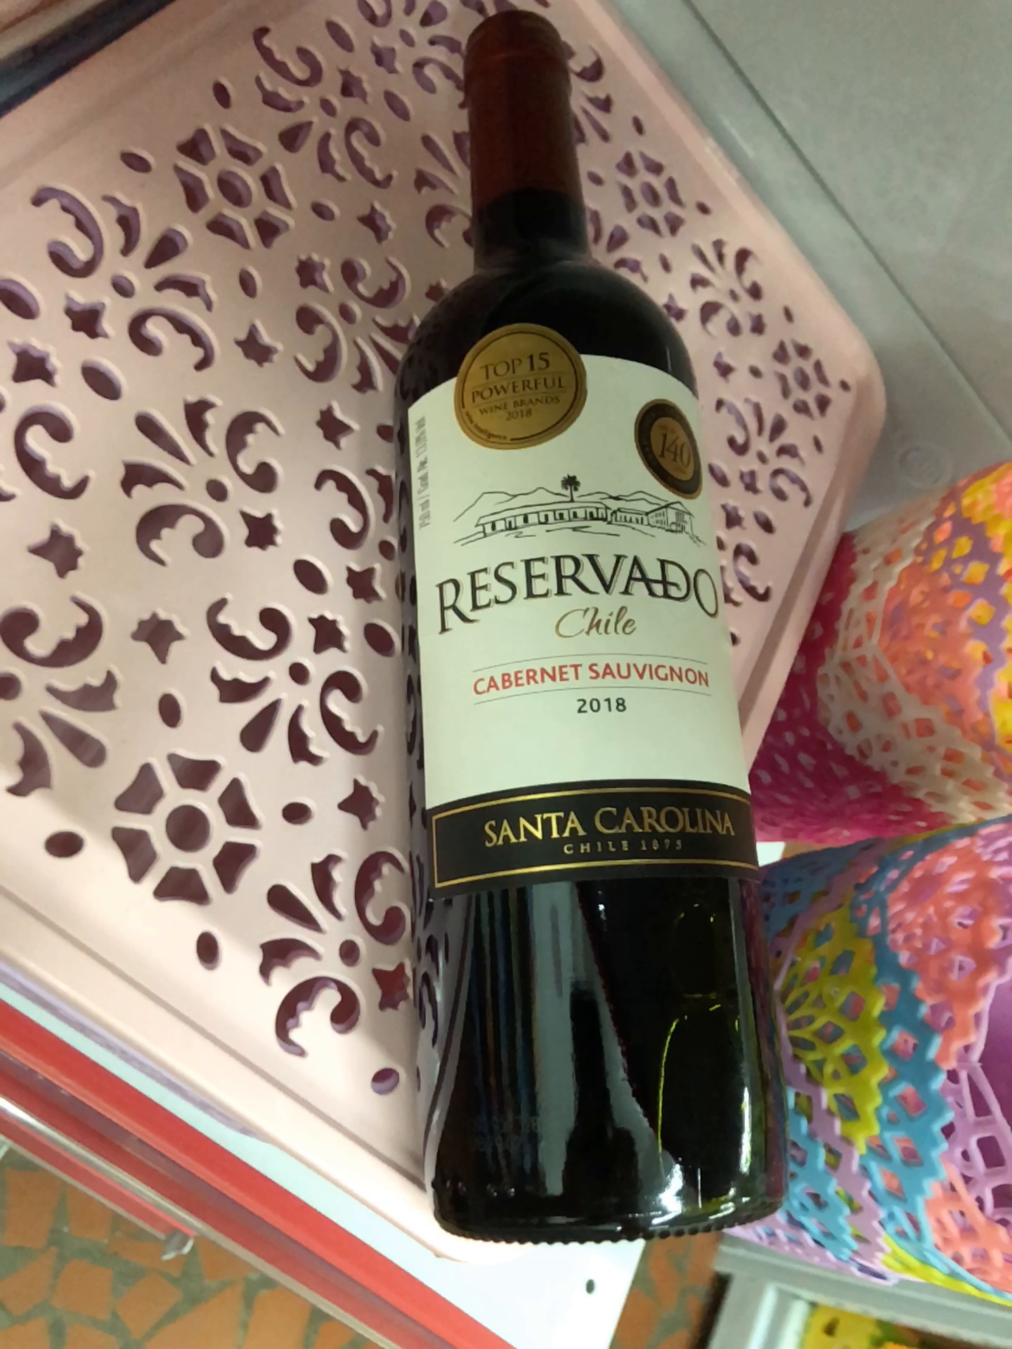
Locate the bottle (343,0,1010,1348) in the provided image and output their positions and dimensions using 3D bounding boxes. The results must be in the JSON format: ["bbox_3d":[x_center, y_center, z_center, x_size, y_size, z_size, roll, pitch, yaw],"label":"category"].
[{"bbox_3d":[0.029,-0.048,0.281,0.111,0.070,0.350,8,70,-34],"label":"bottle"}]
